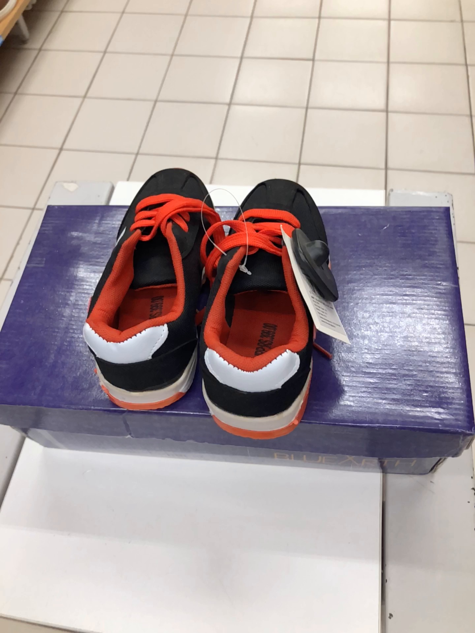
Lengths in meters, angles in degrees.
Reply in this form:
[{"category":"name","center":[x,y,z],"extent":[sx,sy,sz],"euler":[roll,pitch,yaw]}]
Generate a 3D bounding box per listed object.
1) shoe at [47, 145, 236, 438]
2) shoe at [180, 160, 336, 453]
[{"category":"shoe","center":[-0.053,-0.020,0.377],"extent":[0.080,0.100,0.181],"euler":[4,59,6]},{"category":"shoe","center":[0.021,-0.008,0.362],"extent":[0.080,0.100,0.171],"euler":[4,59,6]}]
